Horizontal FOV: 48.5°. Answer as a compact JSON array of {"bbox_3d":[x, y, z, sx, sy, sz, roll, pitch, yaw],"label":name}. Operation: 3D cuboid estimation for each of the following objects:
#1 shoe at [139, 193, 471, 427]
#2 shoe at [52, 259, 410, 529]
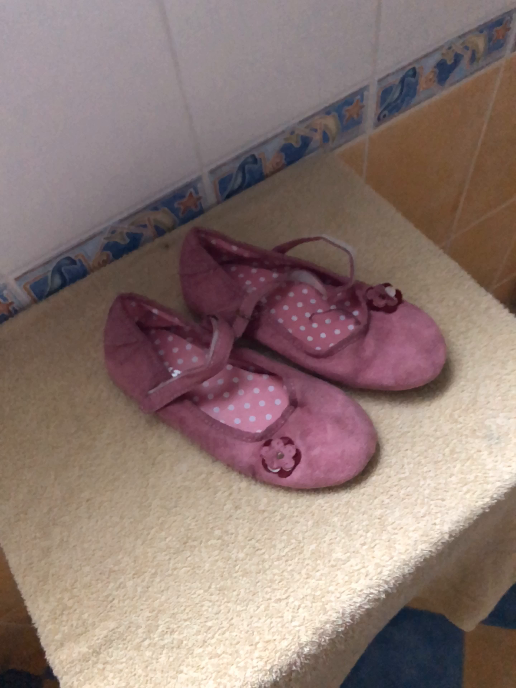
[{"bbox_3d":[0.034,-0.035,0.468,0.240,0.050,0.100,24,66,19],"label":"shoe"},{"bbox_3d":[-0.022,0.029,0.429,0.240,0.050,0.100,24,66,19],"label":"shoe"}]
